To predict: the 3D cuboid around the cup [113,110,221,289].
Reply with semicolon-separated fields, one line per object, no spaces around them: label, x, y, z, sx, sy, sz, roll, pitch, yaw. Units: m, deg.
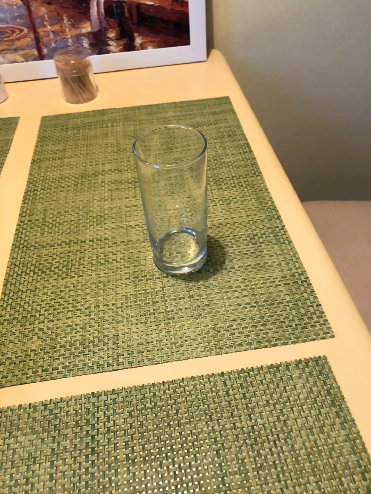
cup;-0.014;-0.040;0.381;0.070;0.139;0.070;-1;46;1
